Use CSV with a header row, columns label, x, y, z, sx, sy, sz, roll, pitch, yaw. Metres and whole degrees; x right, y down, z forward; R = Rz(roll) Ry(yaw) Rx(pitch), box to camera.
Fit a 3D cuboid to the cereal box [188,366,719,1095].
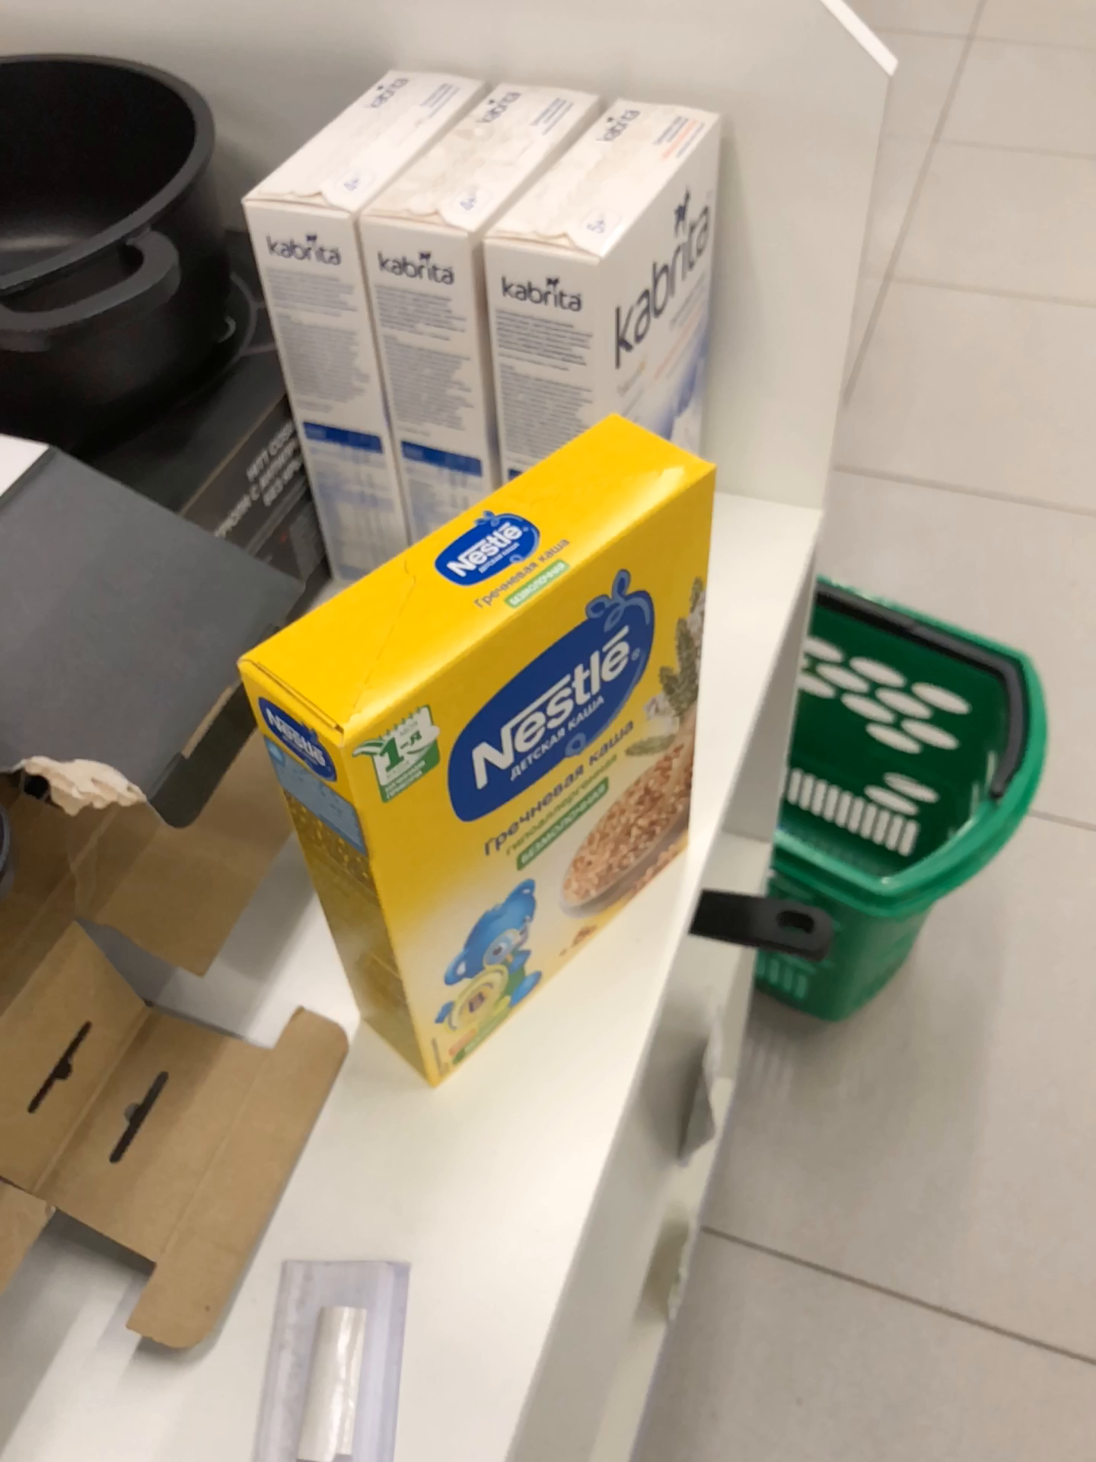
label,x,y,z,sx,sy,sz,roll,pitch,yaw
cereal box,-0.016,0.008,0.403,0.050,0.199,0.150,34,59,29
